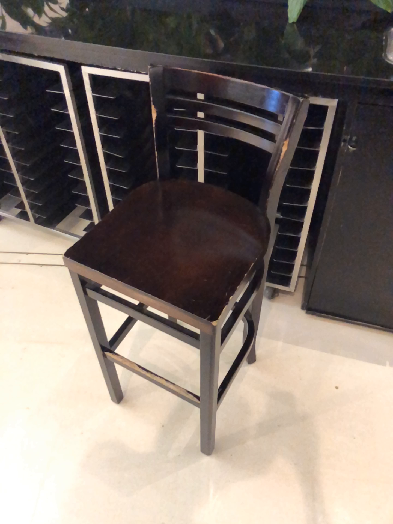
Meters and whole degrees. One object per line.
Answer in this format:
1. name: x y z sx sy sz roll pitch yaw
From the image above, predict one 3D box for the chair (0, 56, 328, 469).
1. chair: -0.031 0.050 1.124 0.441 0.913 0.453 21 49 22
